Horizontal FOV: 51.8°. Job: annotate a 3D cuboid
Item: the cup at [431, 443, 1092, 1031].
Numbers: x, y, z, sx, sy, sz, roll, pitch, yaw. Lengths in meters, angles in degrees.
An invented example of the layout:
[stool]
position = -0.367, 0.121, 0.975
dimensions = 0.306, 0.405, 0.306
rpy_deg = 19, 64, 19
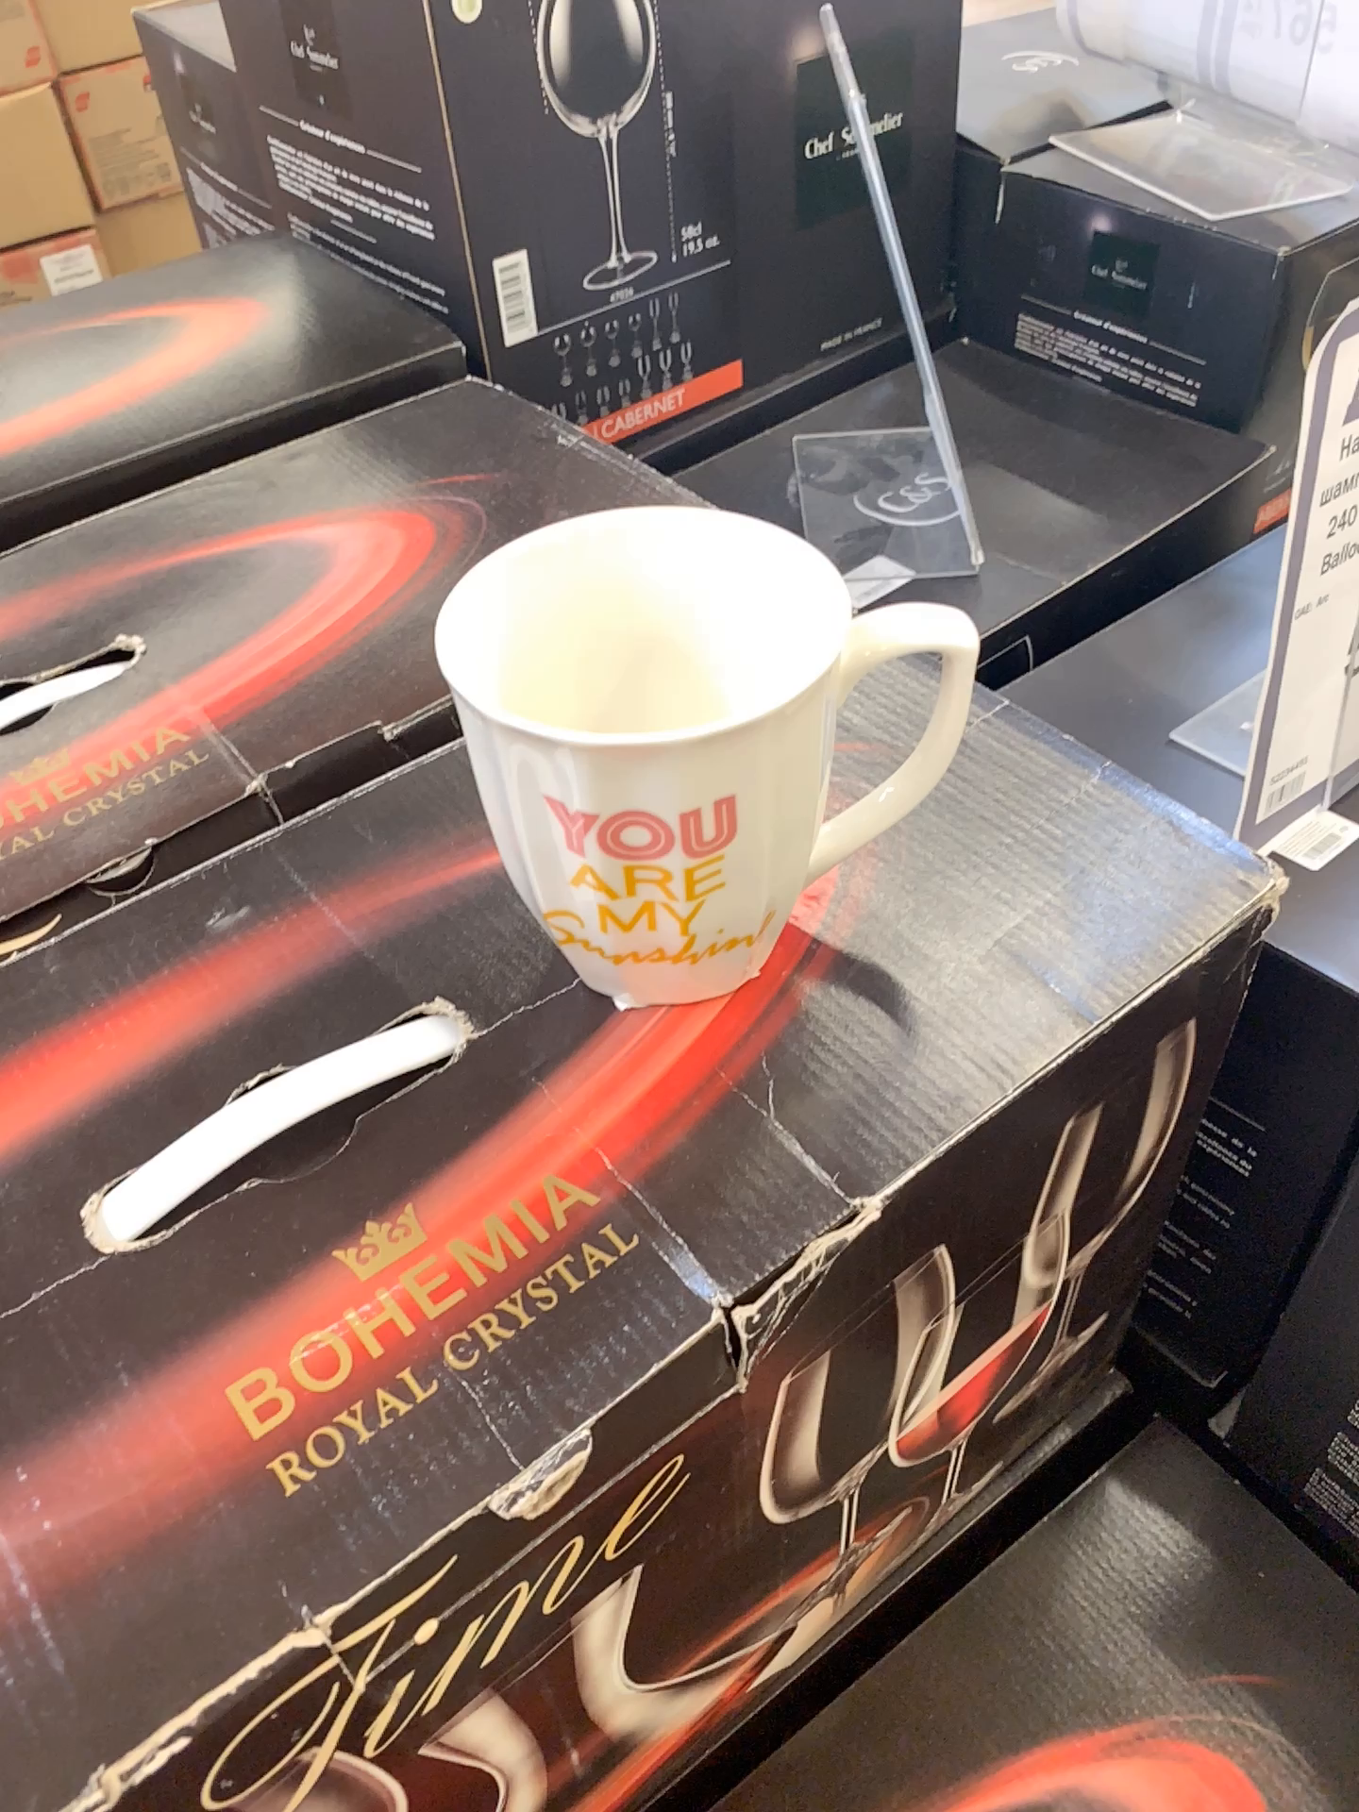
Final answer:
[cup]
position = 0.012, -0.039, 0.312
dimensions = 0.120, 0.080, 0.090
rpy_deg = -6, 45, -2
